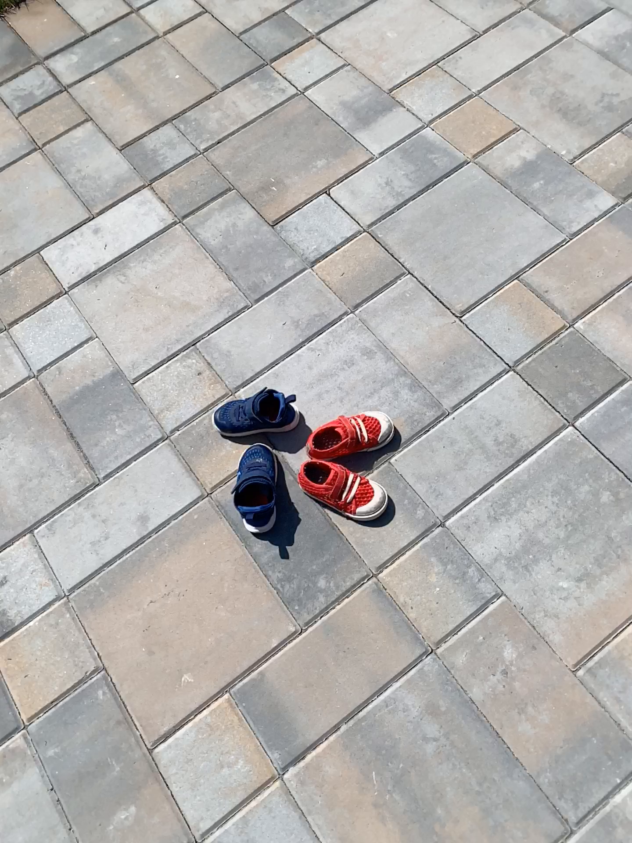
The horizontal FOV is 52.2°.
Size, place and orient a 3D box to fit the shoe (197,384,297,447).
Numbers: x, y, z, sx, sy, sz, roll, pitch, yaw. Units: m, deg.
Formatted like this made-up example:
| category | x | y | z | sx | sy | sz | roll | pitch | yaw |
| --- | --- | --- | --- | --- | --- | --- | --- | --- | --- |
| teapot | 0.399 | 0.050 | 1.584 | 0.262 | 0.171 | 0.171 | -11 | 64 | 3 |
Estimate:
| category | x | y | z | sx | sy | sz | roll | pitch | yaw |
| --- | --- | --- | --- | --- | --- | --- | --- | --- | --- |
| shoe | -0.125 | -0.011 | 1.183 | 0.170 | 0.070 | 0.080 | -4 | 64 | 4 |

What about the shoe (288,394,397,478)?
| category | x | y | z | sx | sy | sz | roll | pitch | yaw |
| --- | --- | --- | --- | --- | --- | --- | --- | --- | --- |
| shoe | 0.048 | 0.026 | 1.138 | 0.170 | 0.070 | 0.080 | -17 | 64 | -2 |

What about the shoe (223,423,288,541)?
| category | x | y | z | sx | sy | sz | roll | pitch | yaw |
| --- | --- | --- | --- | --- | --- | --- | --- | --- | --- |
| shoe | -0.107 | 0.107 | 1.150 | 0.090 | 0.090 | 0.180 | -8 | 64 | 3 |

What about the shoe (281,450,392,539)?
| category | x | y | z | sx | sy | sz | roll | pitch | yaw |
| --- | --- | --- | --- | --- | --- | --- | --- | --- | --- |
| shoe | 0.037 | 0.126 | 1.120 | 0.170 | 0.070 | 0.080 | 20 | 68 | 15 |
